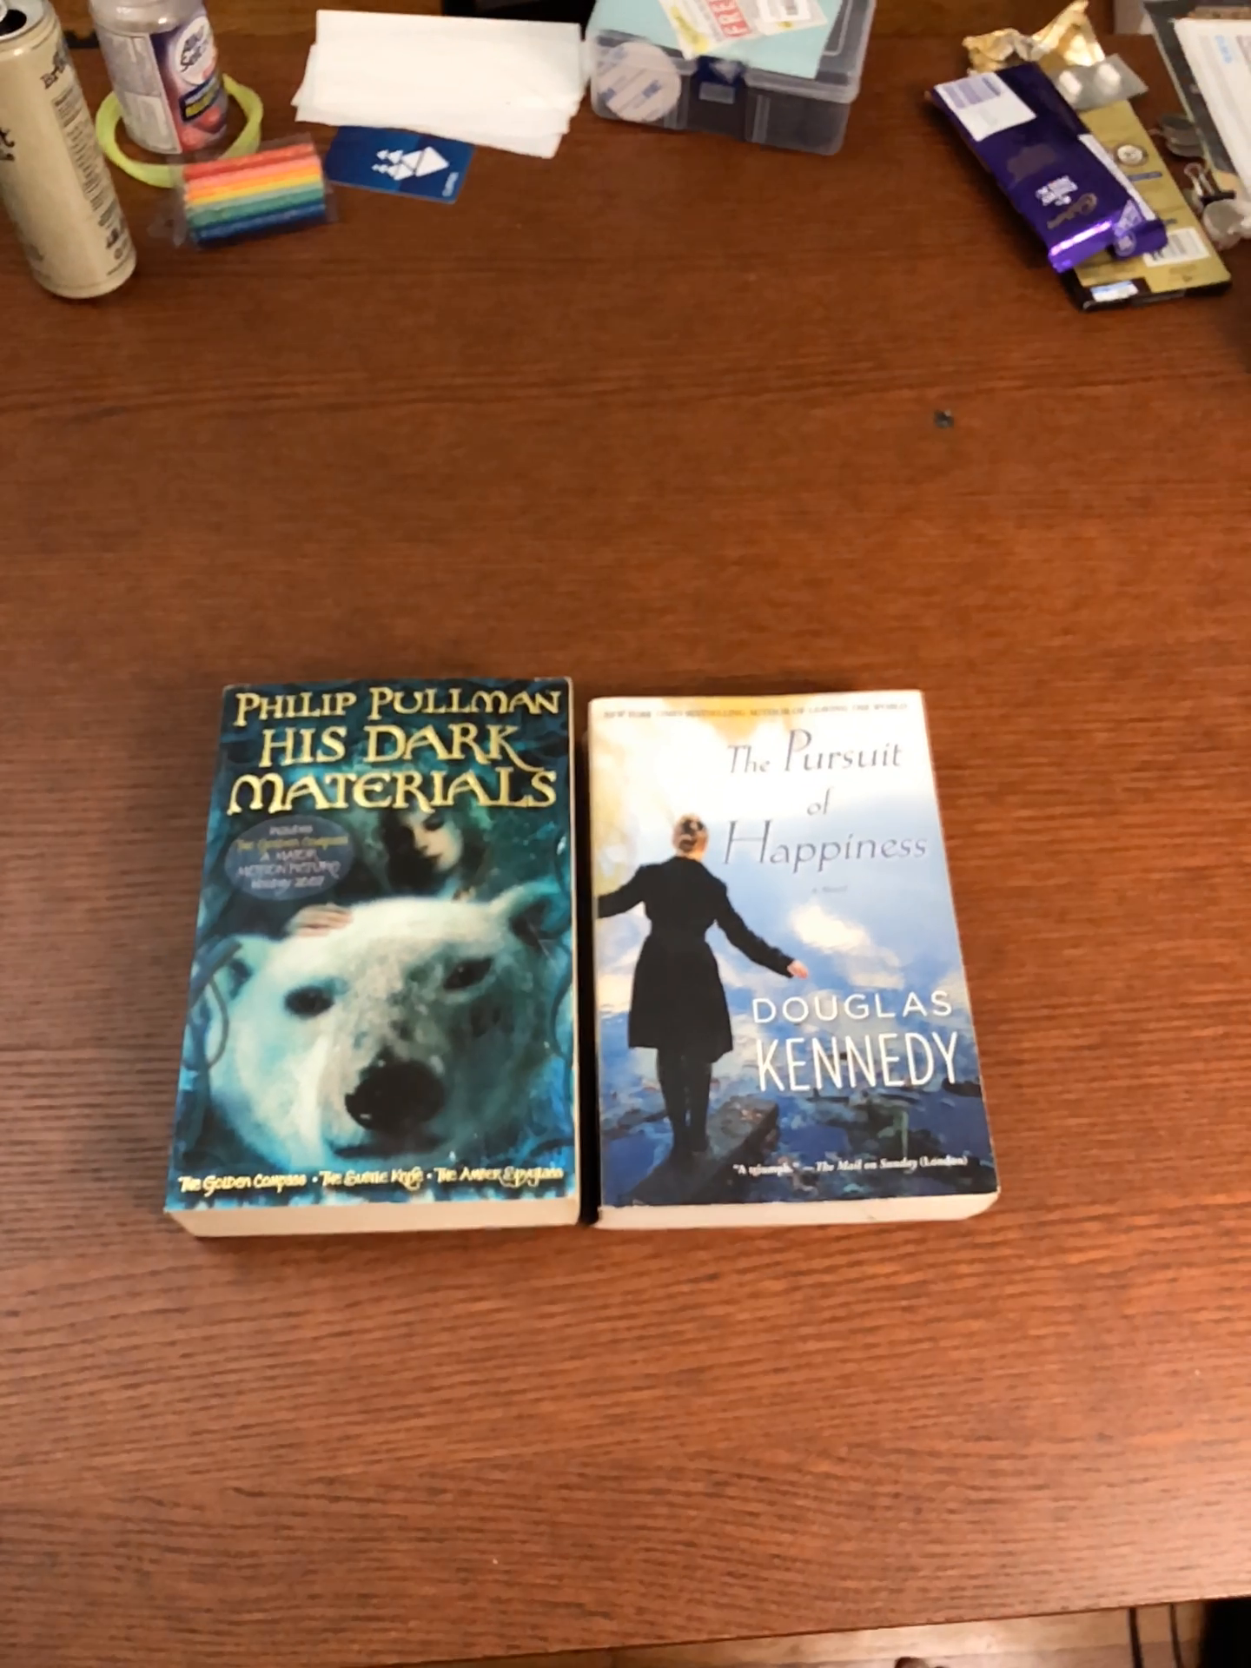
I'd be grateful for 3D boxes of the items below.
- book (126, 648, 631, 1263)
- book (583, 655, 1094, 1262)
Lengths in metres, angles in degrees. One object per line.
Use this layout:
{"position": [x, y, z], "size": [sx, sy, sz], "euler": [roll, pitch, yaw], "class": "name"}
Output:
{"position": [-0.094, 0.042, 0.577], "size": [0.180, 0.050, 0.251], "euler": [-1, 63, -3], "class": "book"}
{"position": [0.076, 0.042, 0.577], "size": [0.180, 0.040, 0.251], "euler": [-1, 63, -3], "class": "book"}
